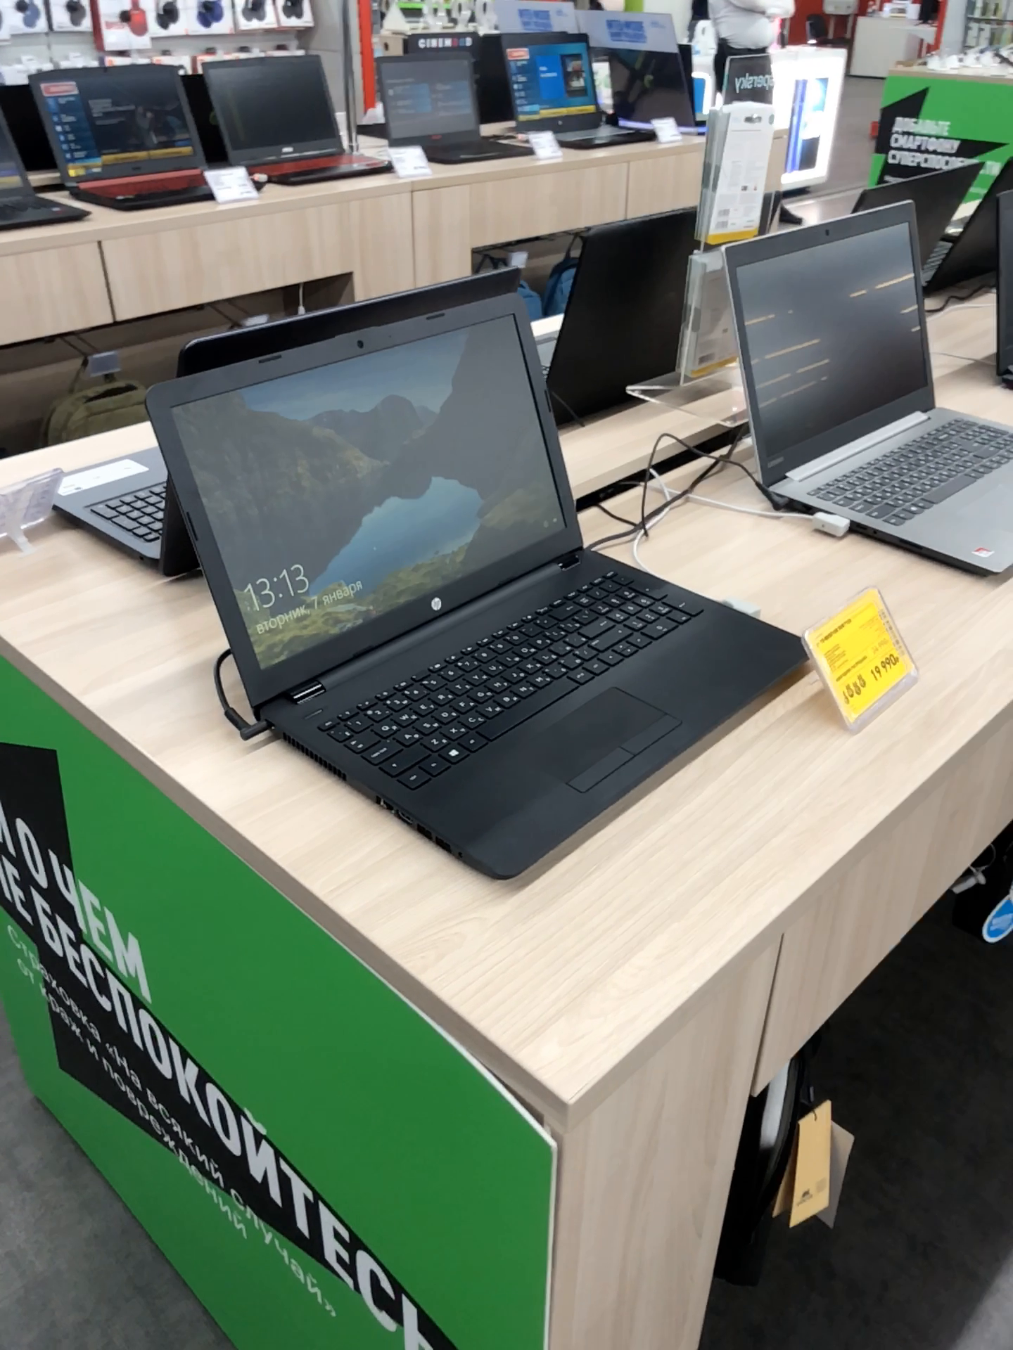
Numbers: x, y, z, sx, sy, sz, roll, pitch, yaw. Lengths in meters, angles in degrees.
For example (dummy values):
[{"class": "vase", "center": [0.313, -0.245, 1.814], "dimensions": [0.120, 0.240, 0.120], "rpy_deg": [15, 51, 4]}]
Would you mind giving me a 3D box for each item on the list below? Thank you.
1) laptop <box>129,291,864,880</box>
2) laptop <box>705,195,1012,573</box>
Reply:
[{"class": "laptop", "center": [0.000, -0.108, 0.822], "dimensions": [0.342, 0.217, 0.377], "rpy_deg": [28, 41, 35]}, {"class": "laptop", "center": [0.467, -0.334, 1.174], "dimensions": [0.371, 0.226, 0.339], "rpy_deg": [-27, 42, -35]}]
